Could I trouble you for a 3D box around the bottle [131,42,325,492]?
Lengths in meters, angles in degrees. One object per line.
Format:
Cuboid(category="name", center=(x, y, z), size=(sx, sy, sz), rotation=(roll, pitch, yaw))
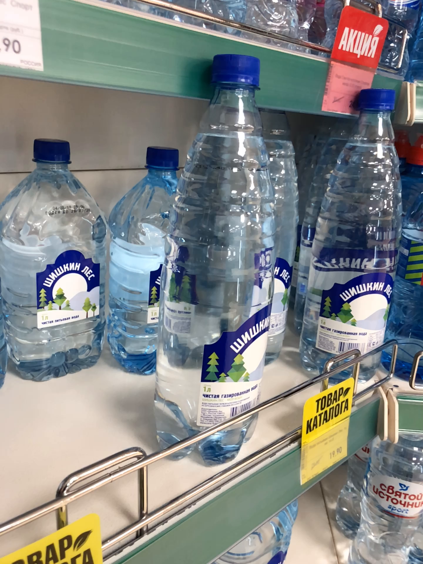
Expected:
Cuboid(category="bottle", center=(0.005, -0.008, 0.329), size=(0.080, 0.273, 0.090), rotation=(18, 23, 38))
